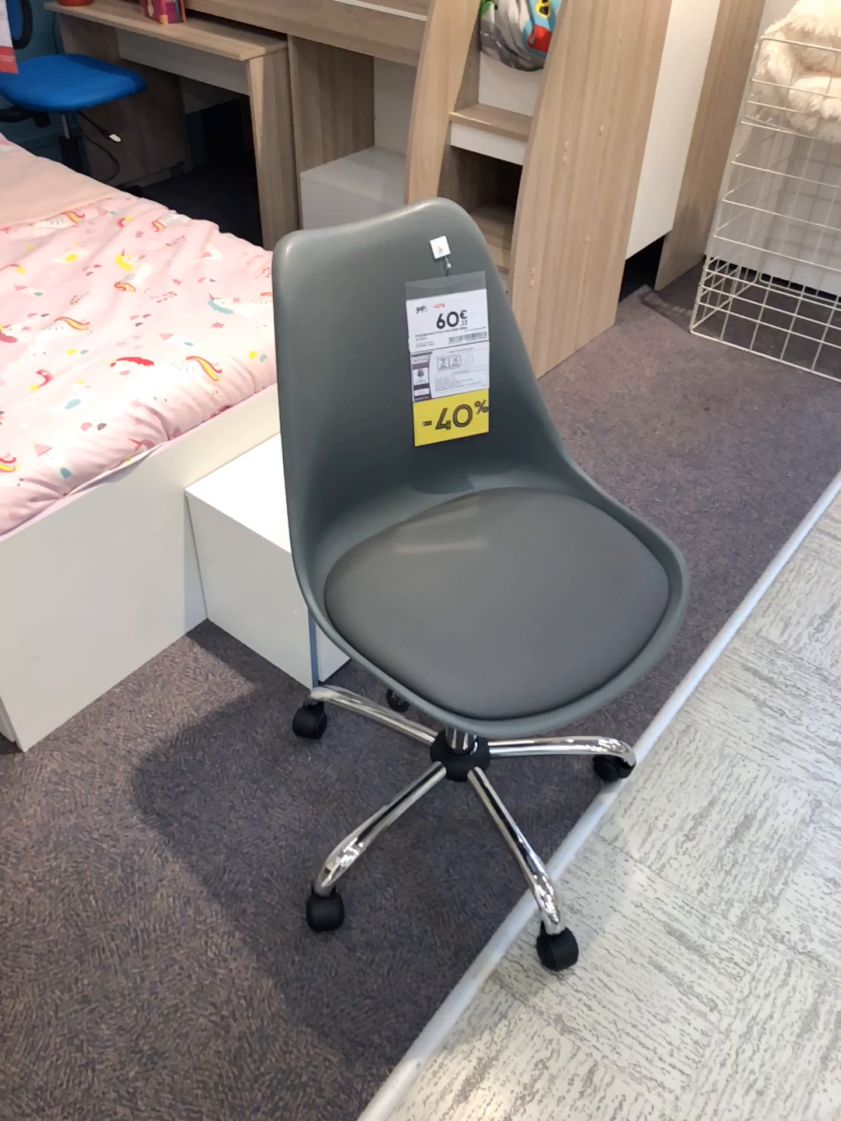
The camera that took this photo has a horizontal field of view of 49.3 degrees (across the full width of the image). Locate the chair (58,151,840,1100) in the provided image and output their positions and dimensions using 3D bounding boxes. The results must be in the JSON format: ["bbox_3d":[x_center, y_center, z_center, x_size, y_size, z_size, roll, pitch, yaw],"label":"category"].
[{"bbox_3d":[0.055,0.058,1.170,0.603,0.835,0.631,-28,50,-29],"label":"chair"}]
